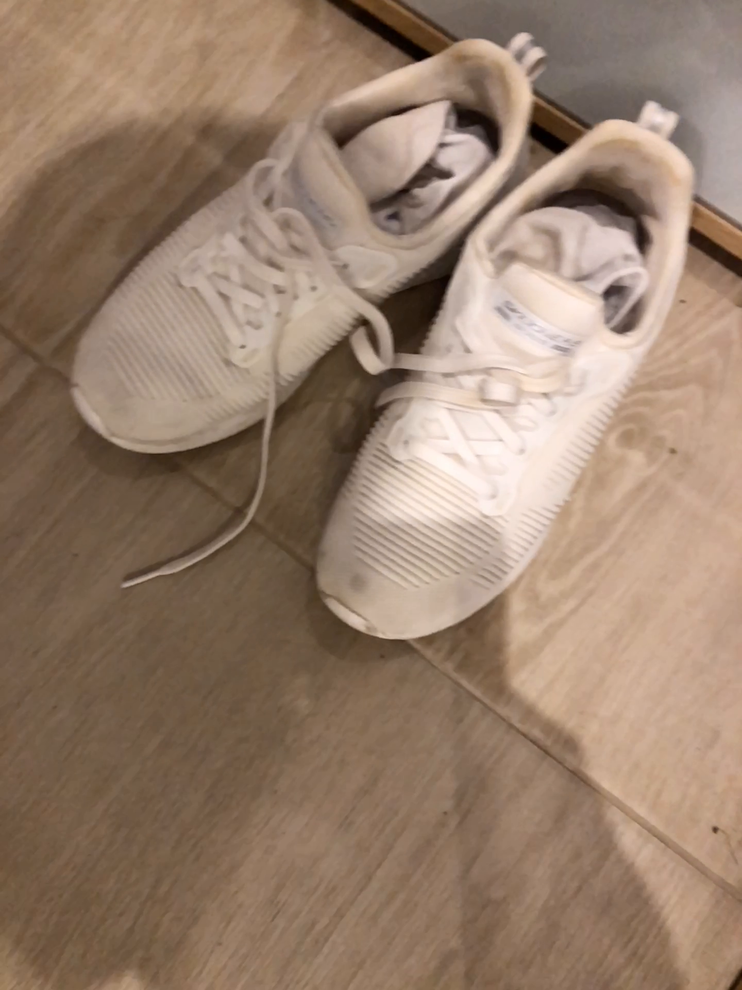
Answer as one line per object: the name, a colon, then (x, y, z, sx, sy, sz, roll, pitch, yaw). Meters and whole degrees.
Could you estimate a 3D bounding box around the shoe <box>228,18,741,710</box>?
shoe: (0.066, -0.055, 0.385, 0.110, 0.110, 0.280, 31, 80, 6)

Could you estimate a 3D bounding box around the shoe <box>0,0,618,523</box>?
shoe: (-0.034, -0.118, 0.401, 0.270, 0.110, 0.110, -35, 80, -7)
